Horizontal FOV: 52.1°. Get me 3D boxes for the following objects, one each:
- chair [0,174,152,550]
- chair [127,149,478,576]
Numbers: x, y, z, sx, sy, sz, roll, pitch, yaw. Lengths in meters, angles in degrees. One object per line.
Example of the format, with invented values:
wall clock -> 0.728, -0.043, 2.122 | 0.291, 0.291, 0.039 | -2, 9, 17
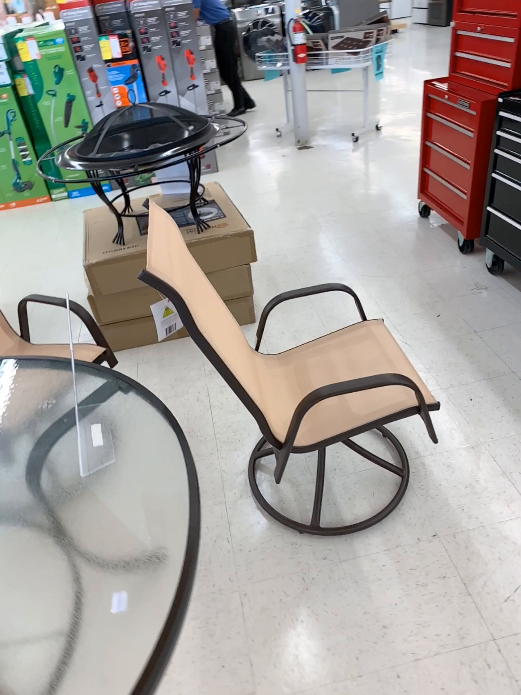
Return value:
chair -> -0.925, 0.015, 1.772 | 0.708, 0.956, 0.570 | 15, 41, 30
chair -> 0.097, 0.045, 1.540 | 0.707, 0.956, 0.571 | -12, 35, -5
